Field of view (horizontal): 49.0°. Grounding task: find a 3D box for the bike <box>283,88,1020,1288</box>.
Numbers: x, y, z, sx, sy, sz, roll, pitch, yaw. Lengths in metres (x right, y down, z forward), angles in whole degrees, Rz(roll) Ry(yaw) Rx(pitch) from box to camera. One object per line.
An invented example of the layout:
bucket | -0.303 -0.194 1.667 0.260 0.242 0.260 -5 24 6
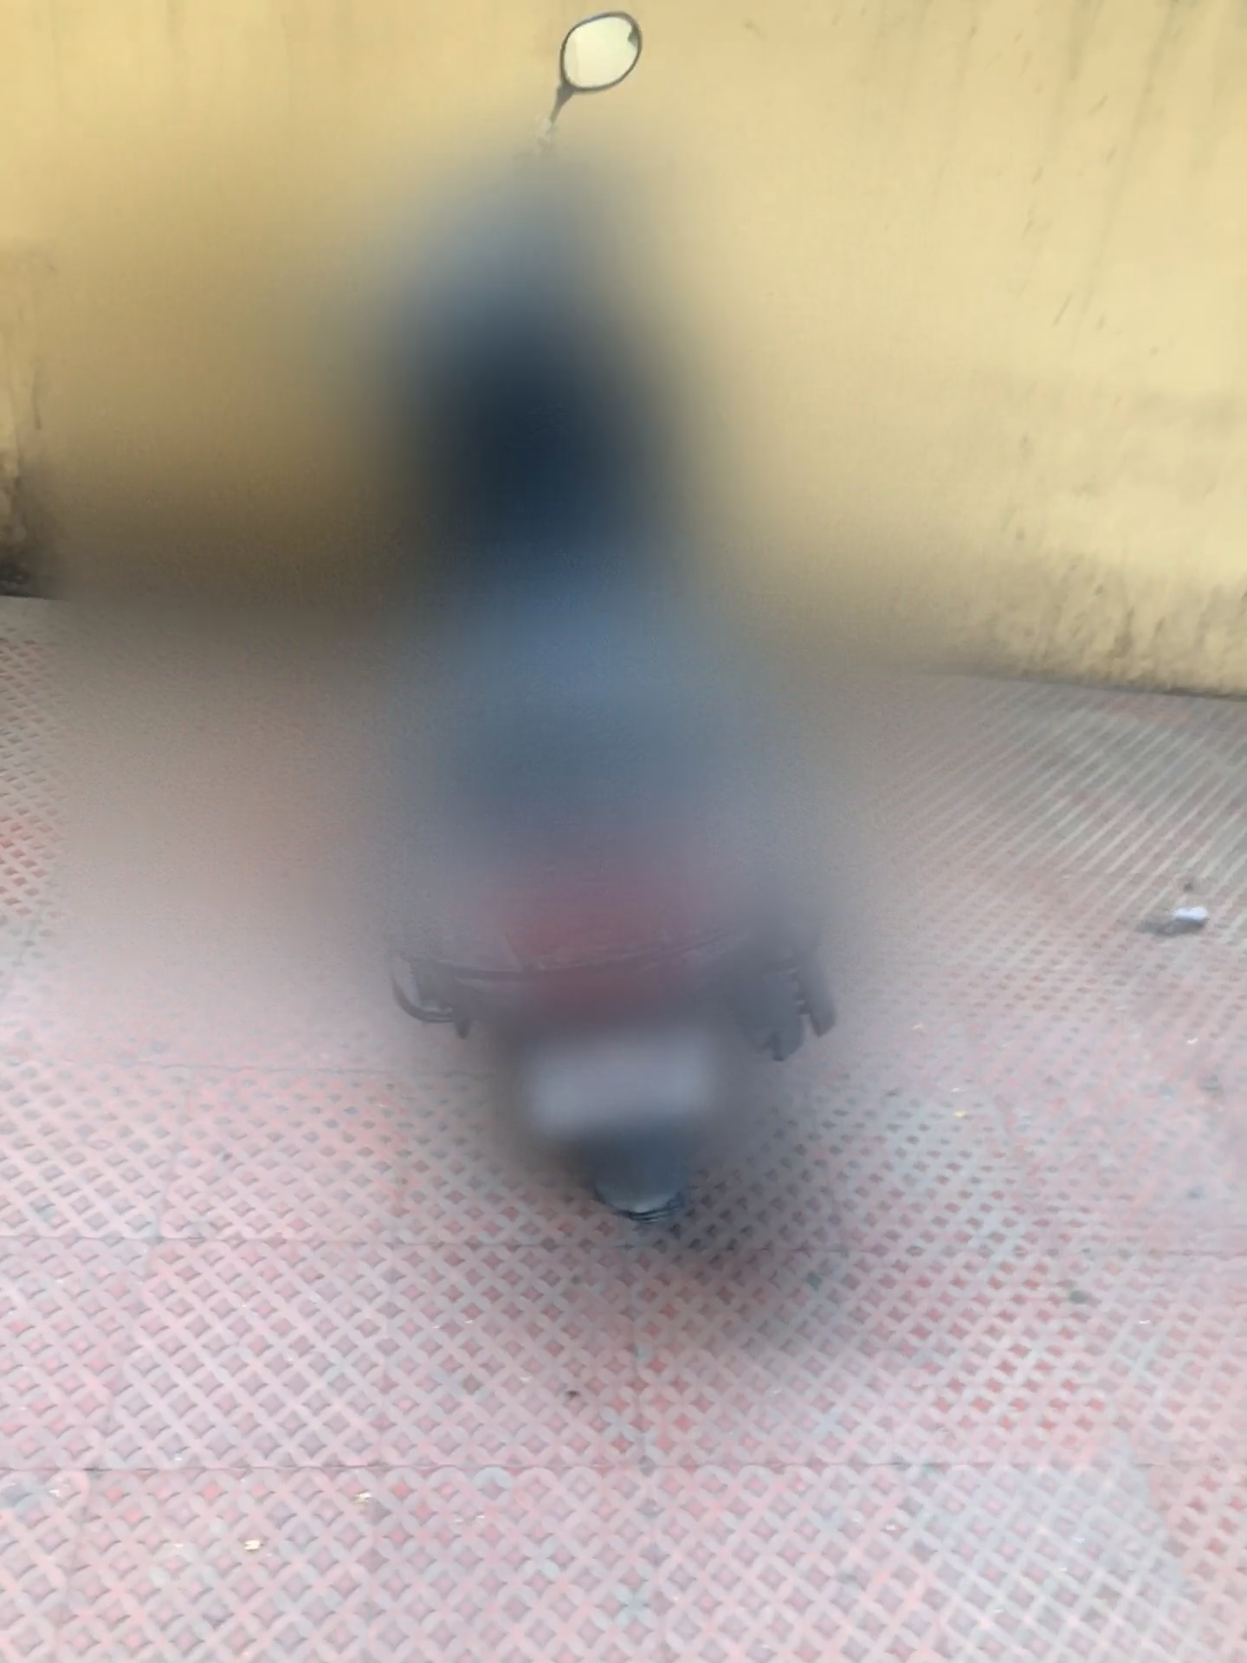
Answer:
bike | -0.159 -0.357 2.000 0.593 1.044 1.594 0 35 -12
